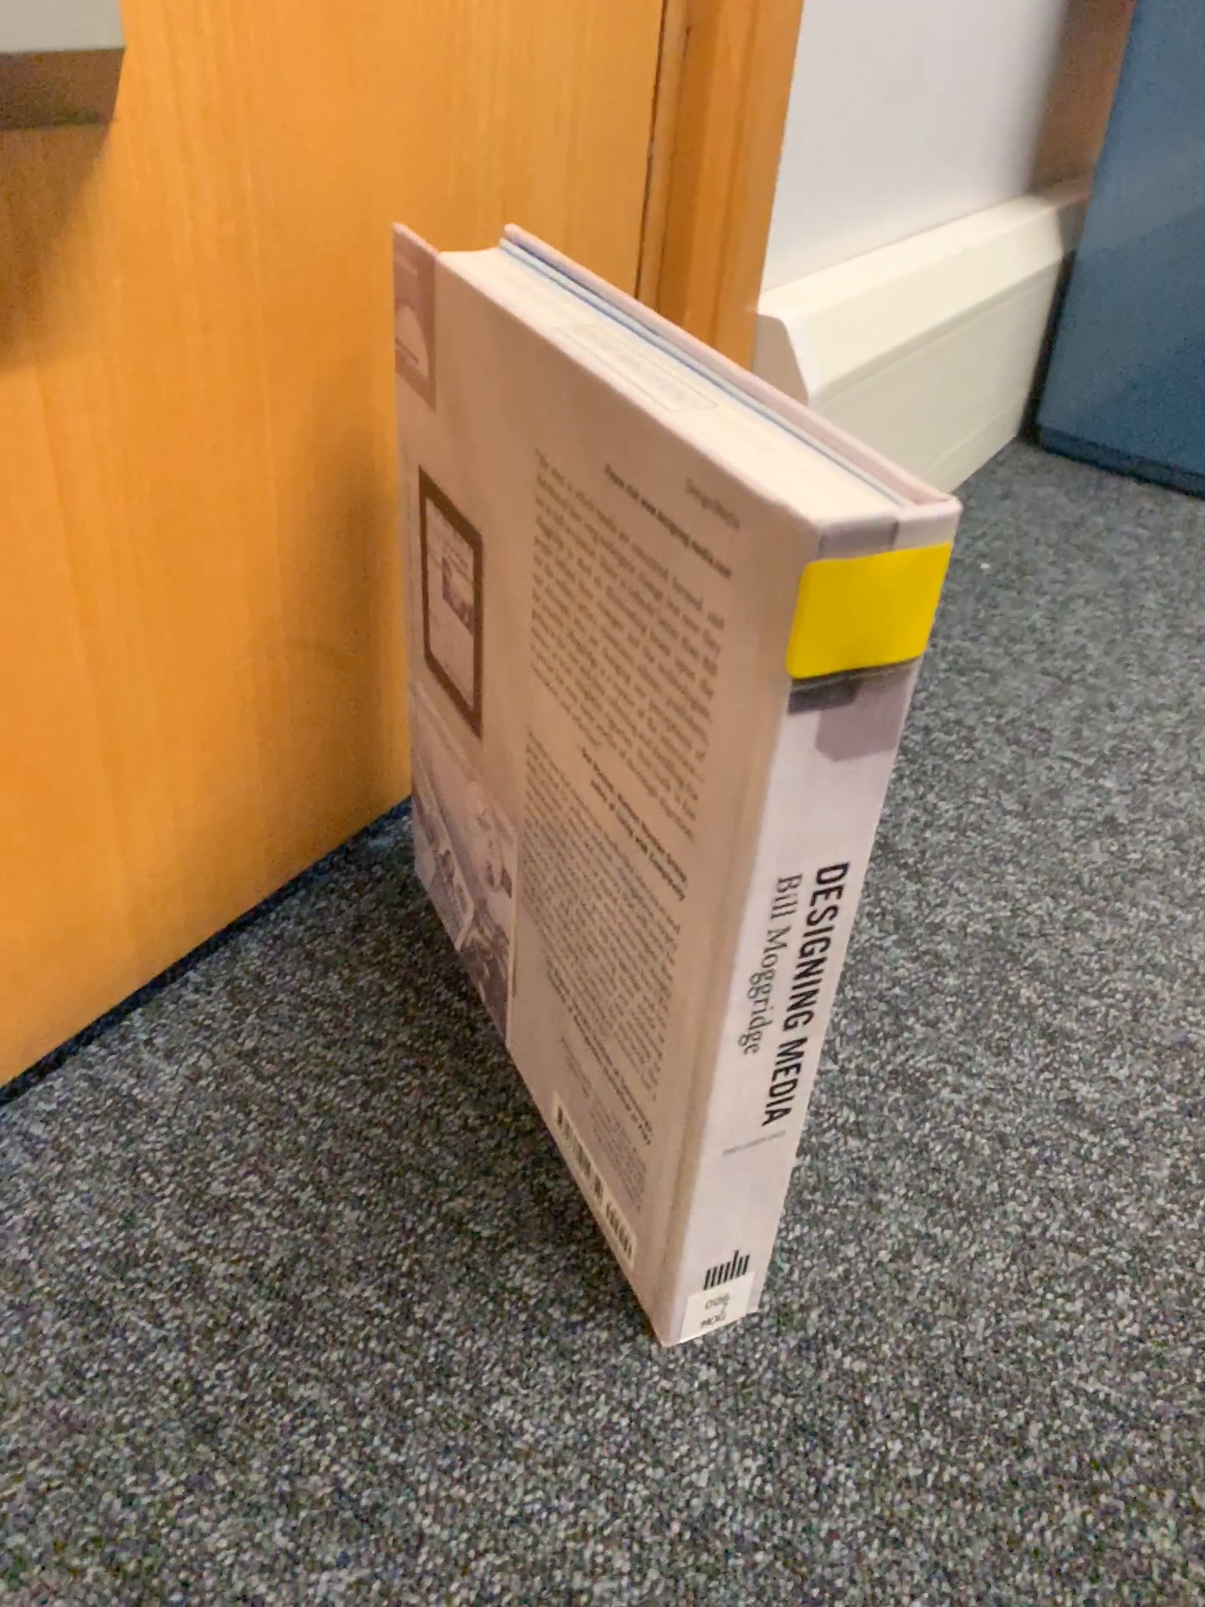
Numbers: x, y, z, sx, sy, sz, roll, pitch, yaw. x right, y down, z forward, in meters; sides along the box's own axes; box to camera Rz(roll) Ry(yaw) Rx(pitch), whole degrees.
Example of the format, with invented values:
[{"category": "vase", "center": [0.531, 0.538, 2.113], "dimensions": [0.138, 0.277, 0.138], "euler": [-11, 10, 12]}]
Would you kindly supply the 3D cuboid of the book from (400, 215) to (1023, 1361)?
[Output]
[{"category": "book", "center": [-0.003, -0.012, 0.339], "dimensions": [0.040, 0.231, 0.212], "euler": [-11, 39, -23]}]
